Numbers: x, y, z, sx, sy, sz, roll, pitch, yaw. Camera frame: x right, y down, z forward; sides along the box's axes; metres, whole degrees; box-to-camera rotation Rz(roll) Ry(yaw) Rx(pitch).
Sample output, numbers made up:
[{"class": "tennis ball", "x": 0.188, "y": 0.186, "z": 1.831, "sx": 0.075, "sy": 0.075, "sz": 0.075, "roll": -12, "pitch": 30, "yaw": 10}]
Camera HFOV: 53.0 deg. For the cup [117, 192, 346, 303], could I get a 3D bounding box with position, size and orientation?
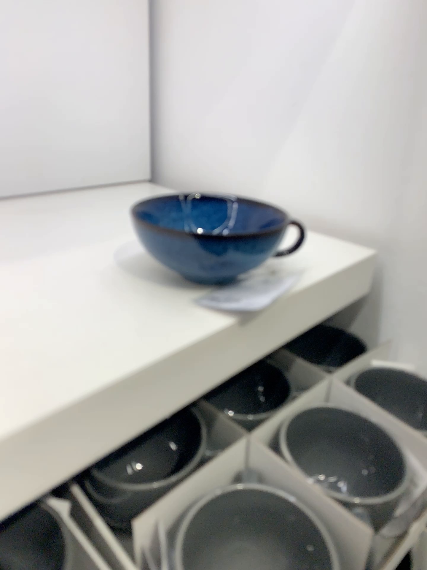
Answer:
[{"class": "cup", "x": 0.005, "y": -0.042, "z": 0.372, "sx": 0.160, "sy": 0.050, "sz": 0.130, "roll": -4, "pitch": 25, "yaw": -17}]
